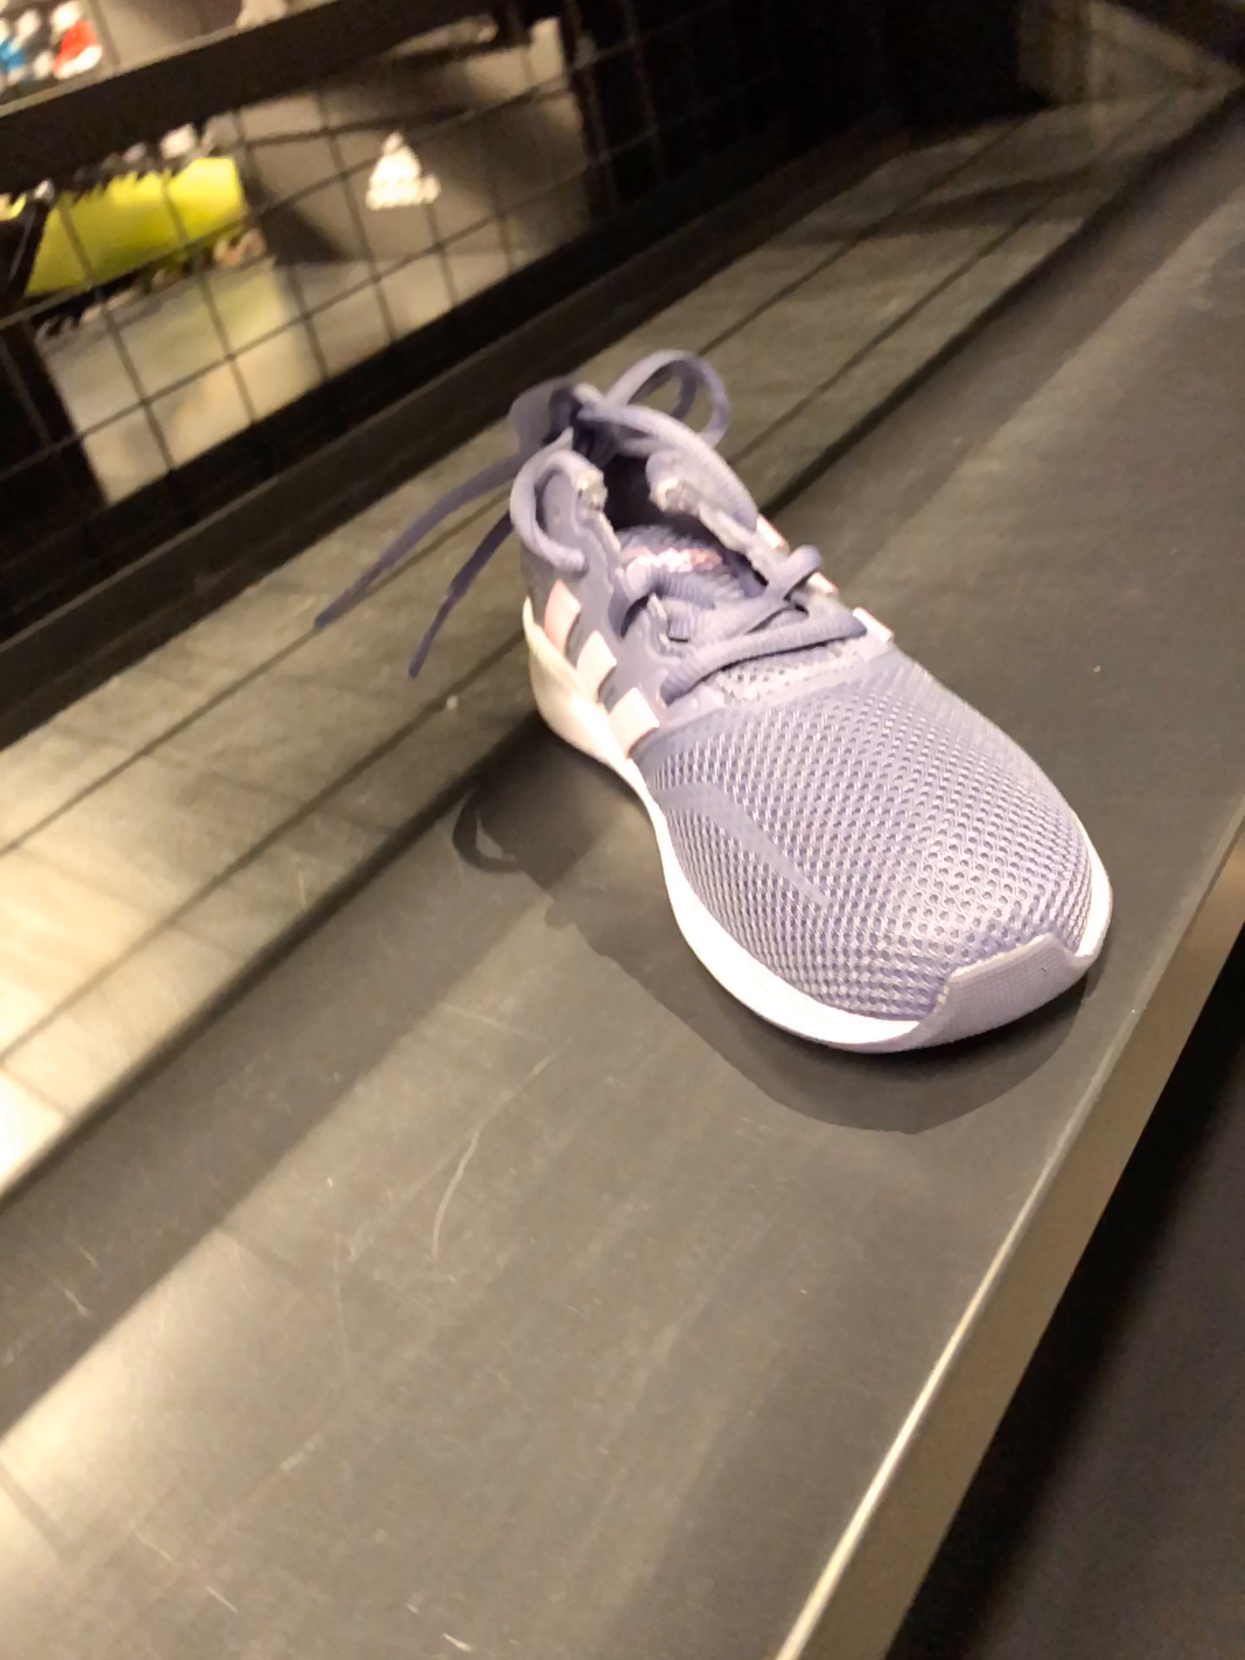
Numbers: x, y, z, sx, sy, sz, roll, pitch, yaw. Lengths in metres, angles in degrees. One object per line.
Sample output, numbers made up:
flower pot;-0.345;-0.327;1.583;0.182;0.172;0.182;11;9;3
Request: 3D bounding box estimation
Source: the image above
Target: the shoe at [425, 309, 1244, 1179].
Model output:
shoe;0.037;-0.042;0.322;0.090;0.090;0.221;-23;35;-10
